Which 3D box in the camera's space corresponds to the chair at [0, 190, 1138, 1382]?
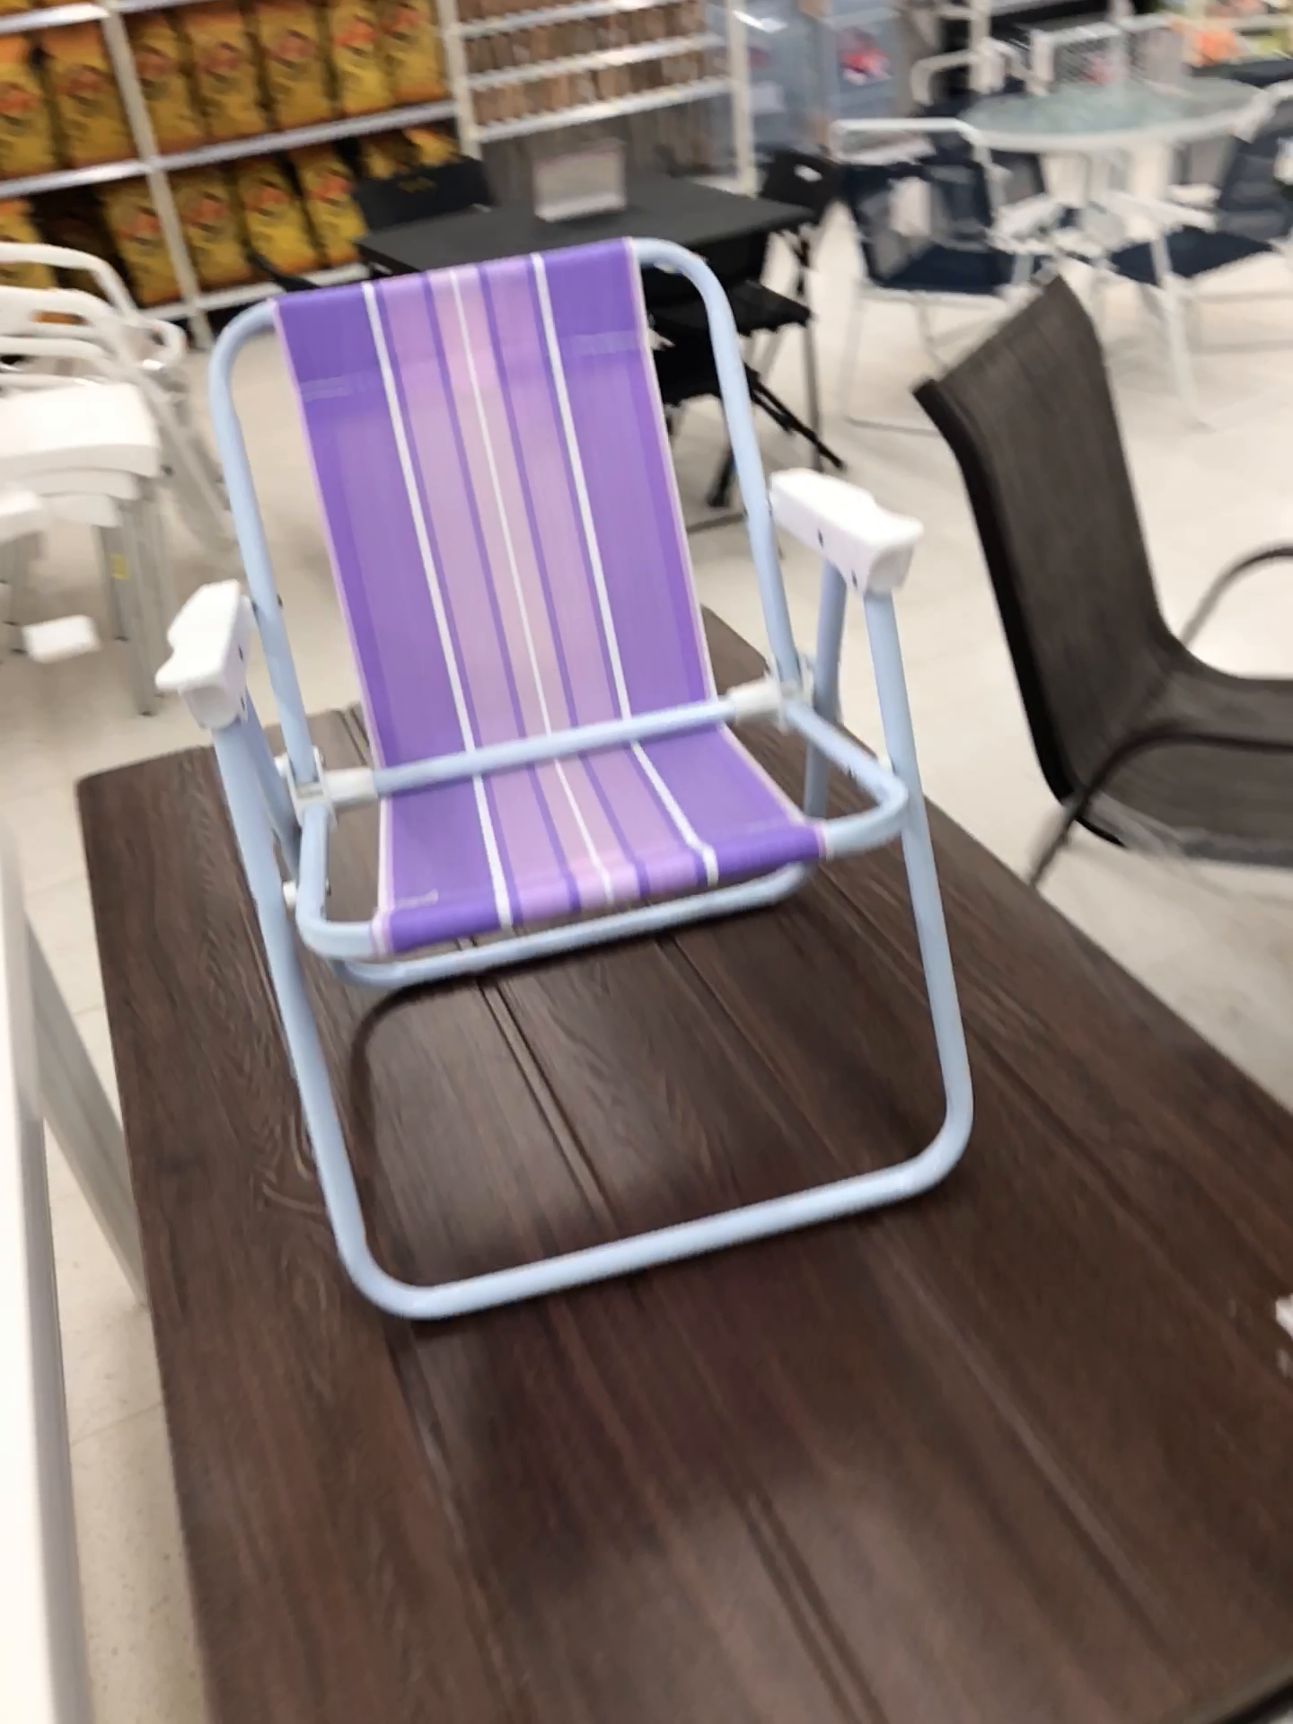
[{"bbox_3d":[-0.040,-0.069,0.780,0.420,0.437,0.393,-13,34,-7],"label":"chair"}]
